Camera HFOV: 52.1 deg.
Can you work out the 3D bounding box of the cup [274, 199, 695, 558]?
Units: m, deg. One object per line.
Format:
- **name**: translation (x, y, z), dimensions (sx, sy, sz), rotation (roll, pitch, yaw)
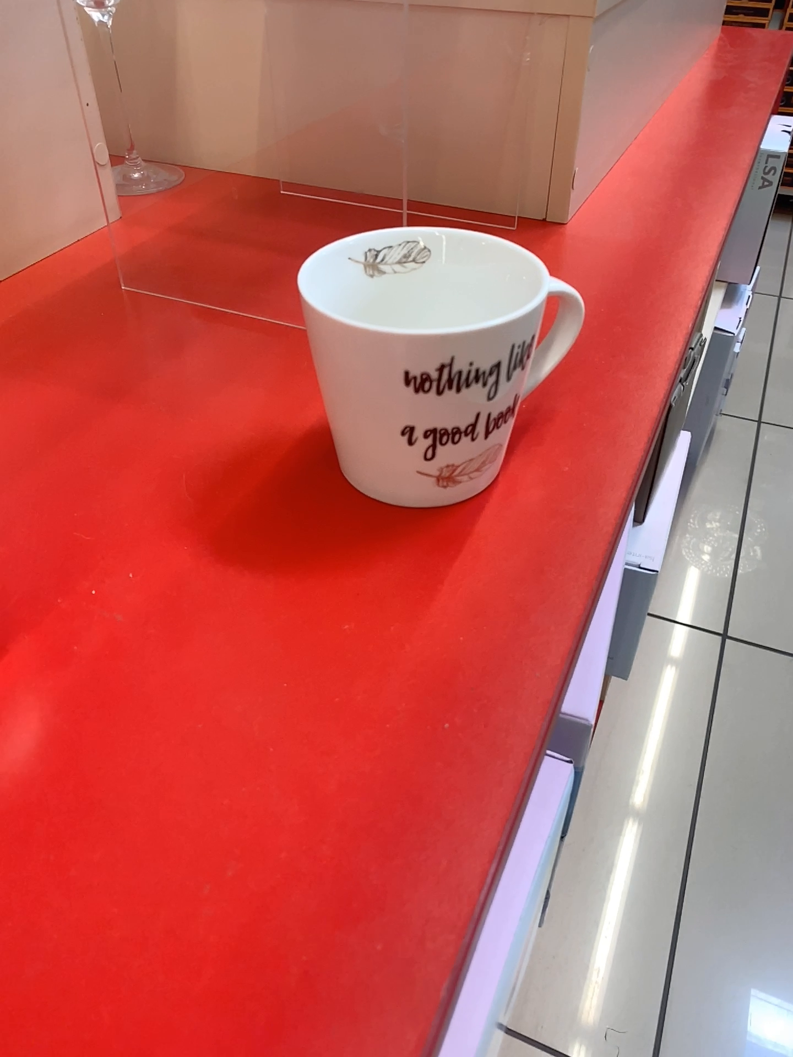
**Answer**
- **cup**: translation (0.030, -0.066, 0.332), dimensions (0.130, 0.090, 0.090), rotation (-15, 42, -17)
